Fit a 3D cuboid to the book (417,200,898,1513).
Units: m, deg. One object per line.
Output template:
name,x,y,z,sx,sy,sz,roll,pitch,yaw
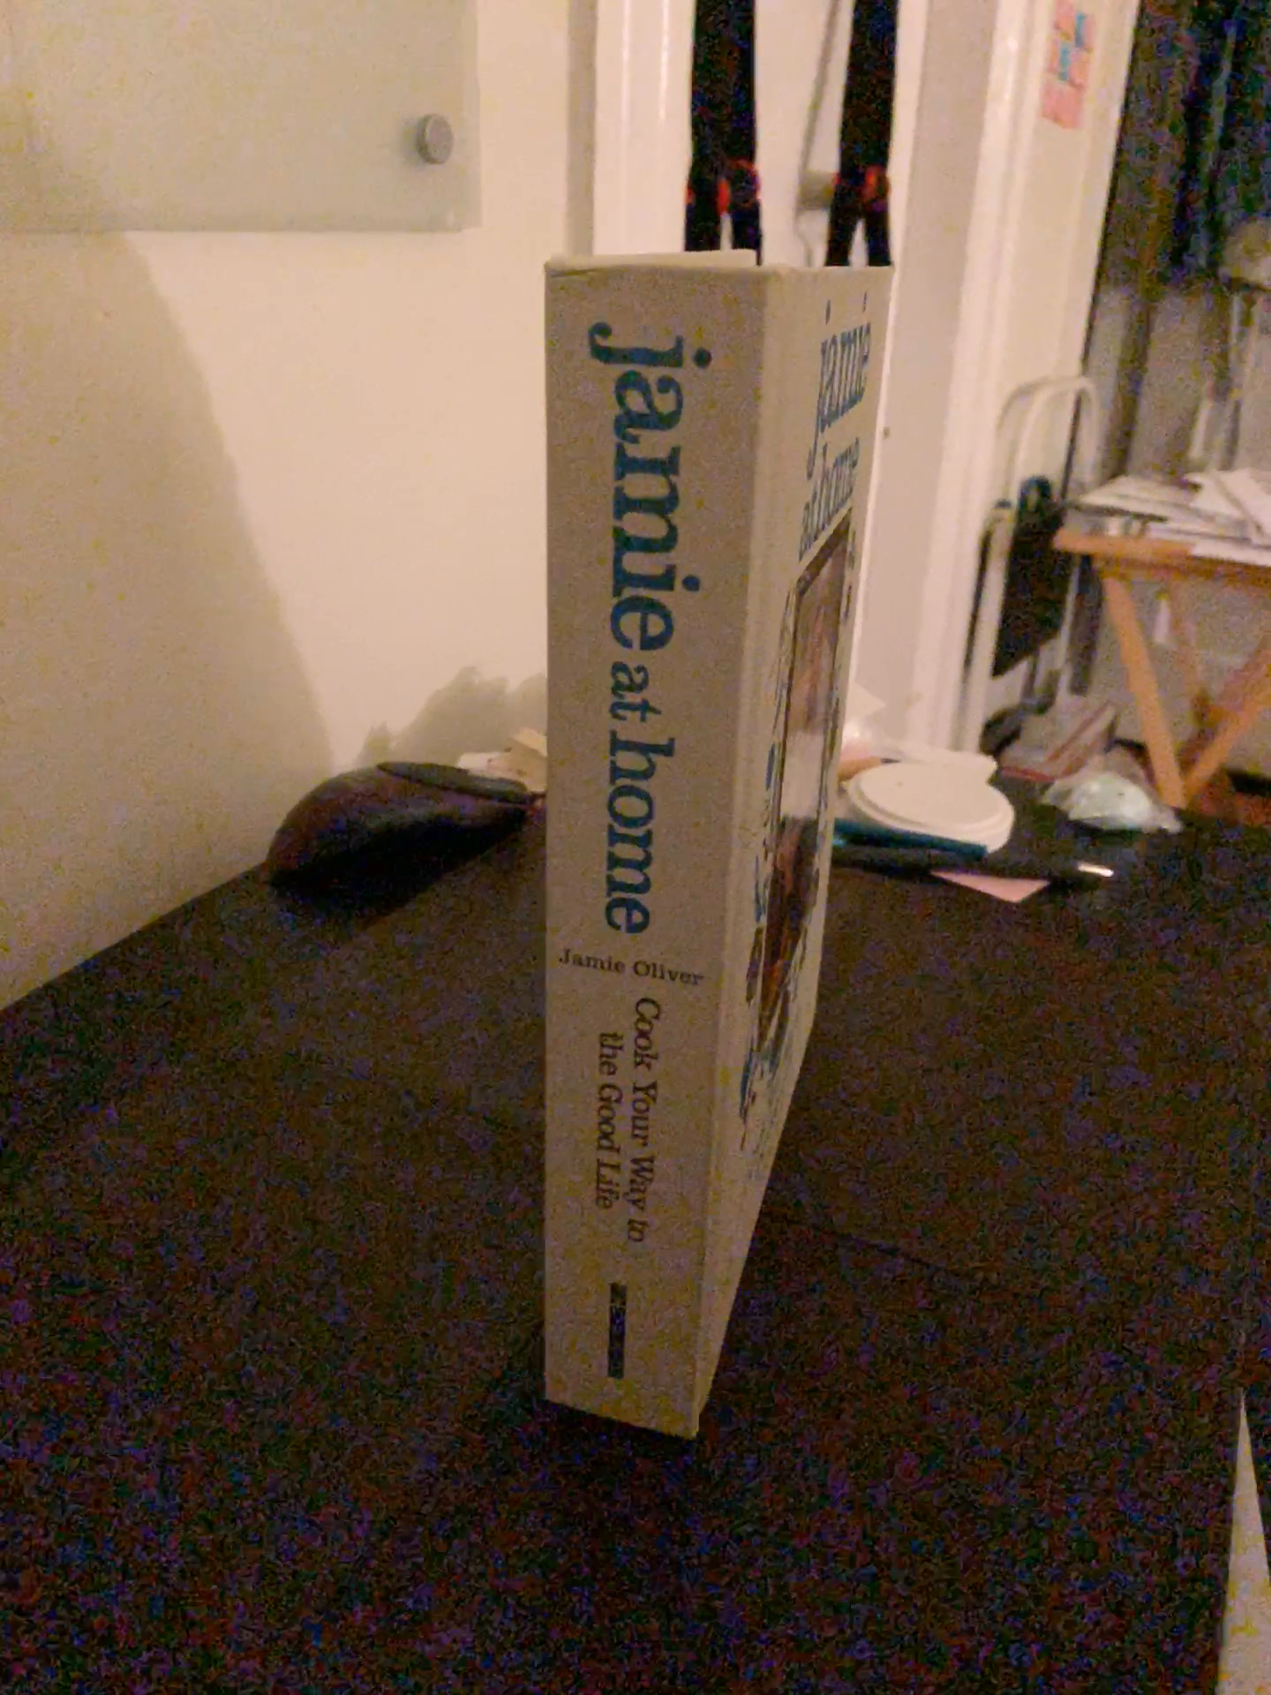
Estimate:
book,0.016,-0.016,0.343,0.050,0.269,0.211,9,26,14
